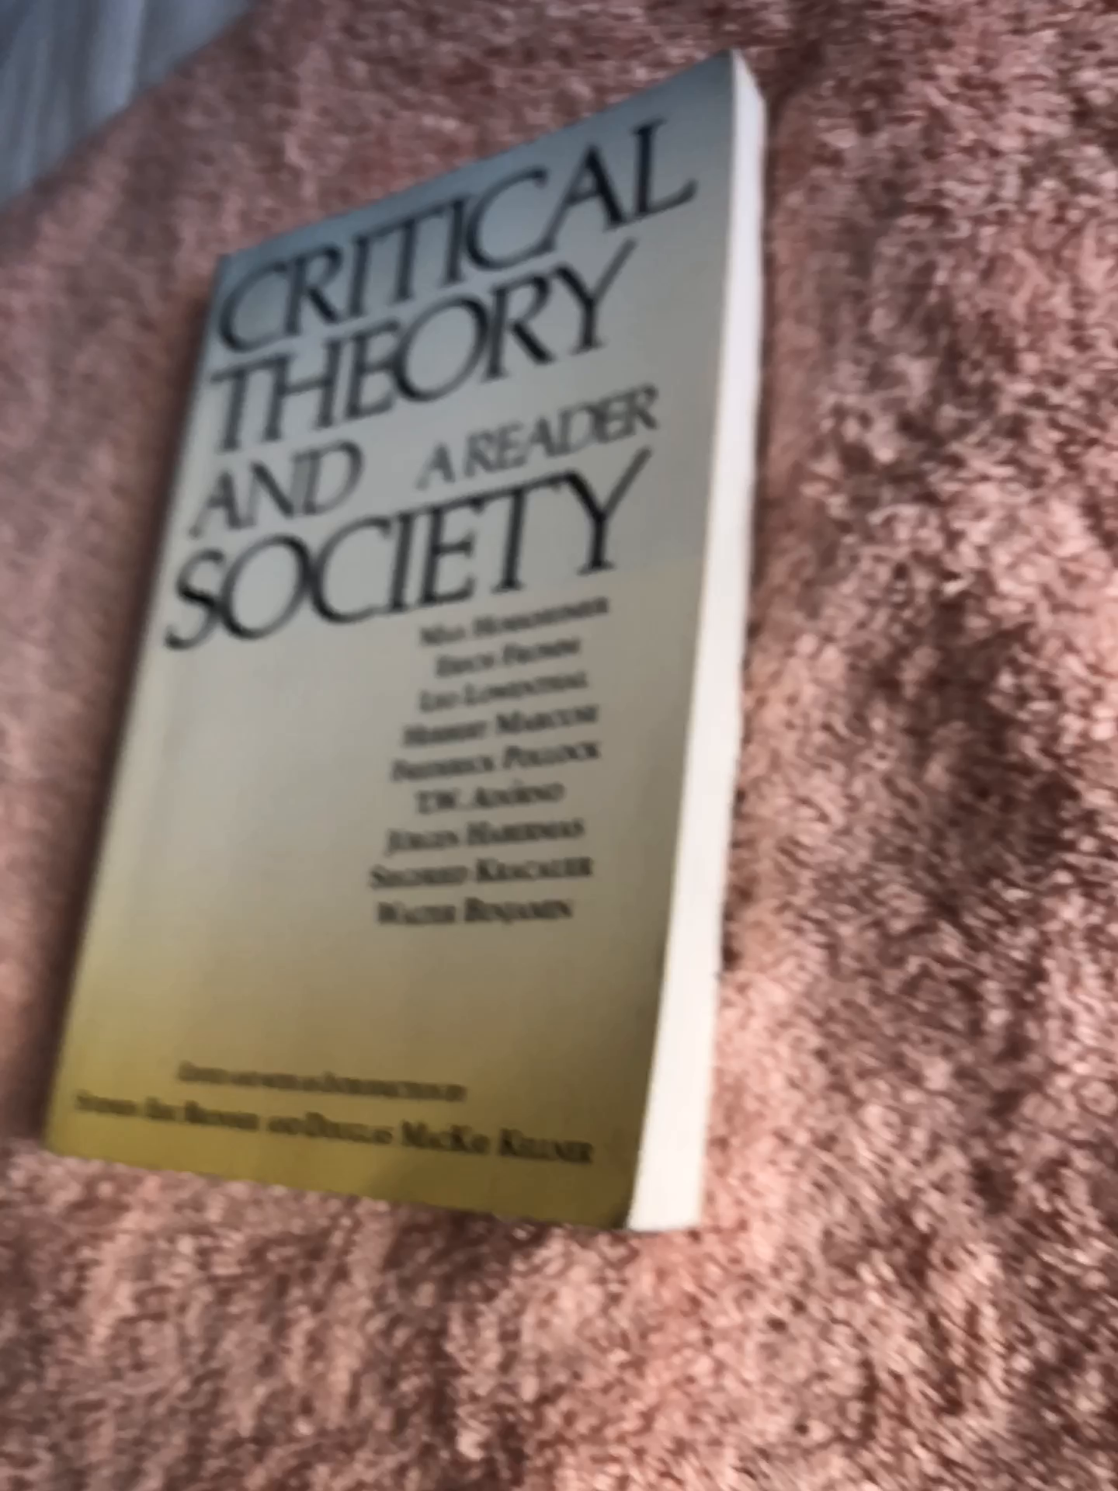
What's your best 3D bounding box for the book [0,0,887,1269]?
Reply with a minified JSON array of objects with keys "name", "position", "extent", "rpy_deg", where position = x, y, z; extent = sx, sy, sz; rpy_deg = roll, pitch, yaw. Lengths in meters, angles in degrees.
[{"name":"book","position":[-0.026,-0.026,0.268],"extent":[0.171,0.050,0.230],"rpy_deg":[-4,68,30]}]
